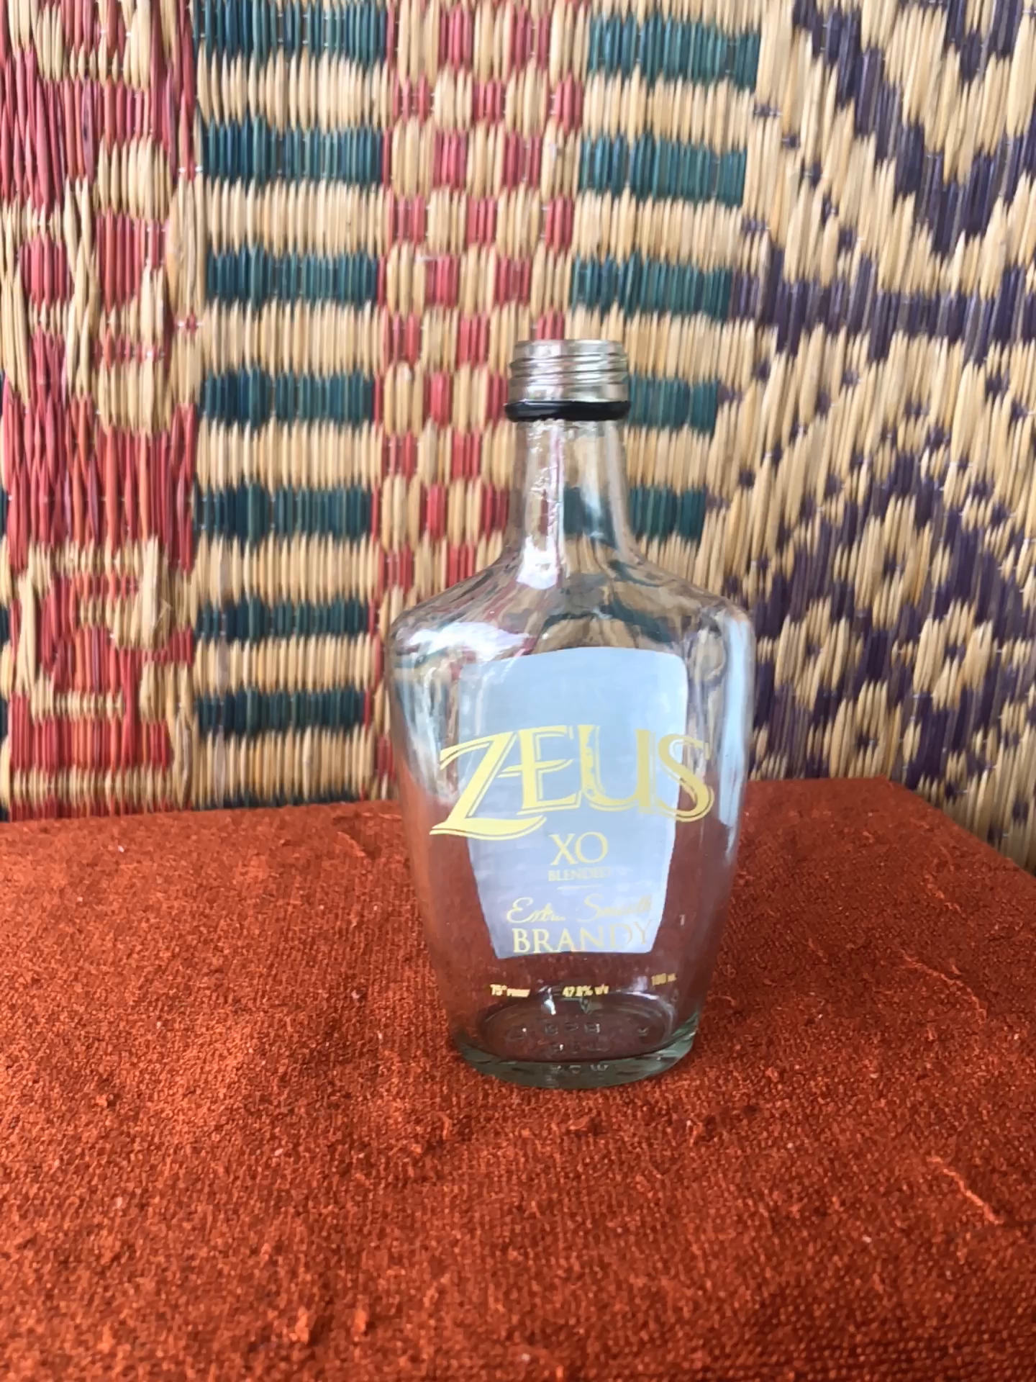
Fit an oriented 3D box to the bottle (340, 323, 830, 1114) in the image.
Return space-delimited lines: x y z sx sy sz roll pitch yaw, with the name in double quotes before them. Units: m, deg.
"bottle" 0.008 0.007 0.229 0.080 0.149 0.040 1 17 -3
